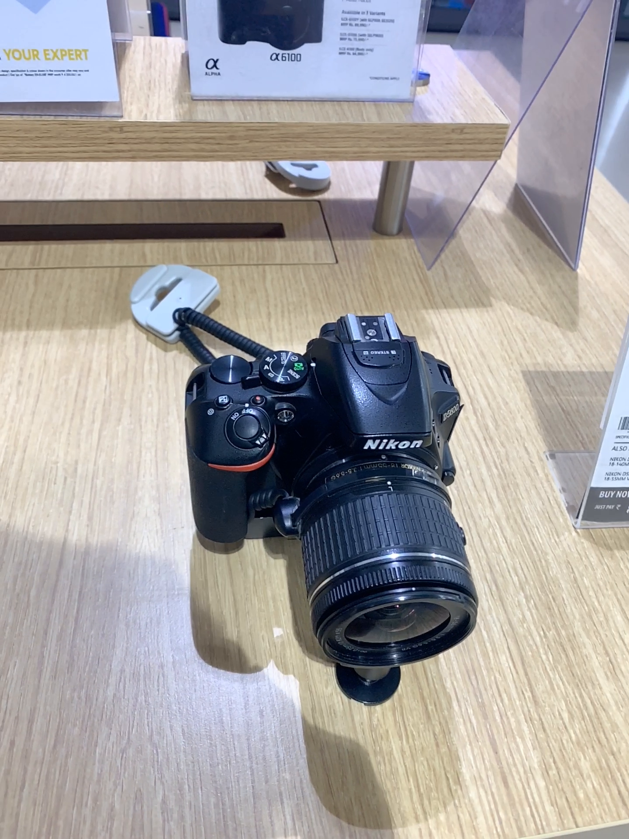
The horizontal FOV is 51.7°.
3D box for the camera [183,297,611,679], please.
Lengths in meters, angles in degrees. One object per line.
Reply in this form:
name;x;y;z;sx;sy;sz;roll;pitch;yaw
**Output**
camera;0.014;0.020;0.248;0.124;0.080;0.114;-2;46;-10
